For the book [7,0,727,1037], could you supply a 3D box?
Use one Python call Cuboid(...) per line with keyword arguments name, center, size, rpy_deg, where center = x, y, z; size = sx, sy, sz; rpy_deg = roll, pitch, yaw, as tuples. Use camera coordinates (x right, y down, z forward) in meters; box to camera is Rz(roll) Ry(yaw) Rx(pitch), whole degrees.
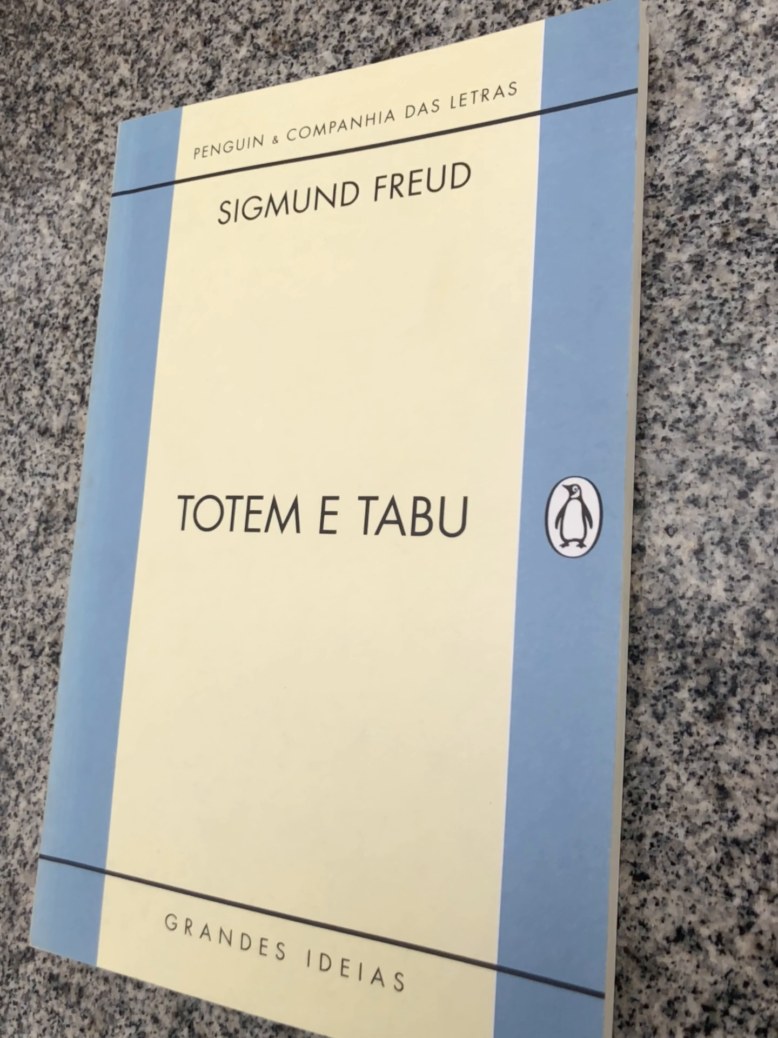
Cuboid(name="book", center=(-0.008, 0.003, 0.168), size=(0.130, 0.015, 0.191), rpy_deg=(1, 82, 26))
